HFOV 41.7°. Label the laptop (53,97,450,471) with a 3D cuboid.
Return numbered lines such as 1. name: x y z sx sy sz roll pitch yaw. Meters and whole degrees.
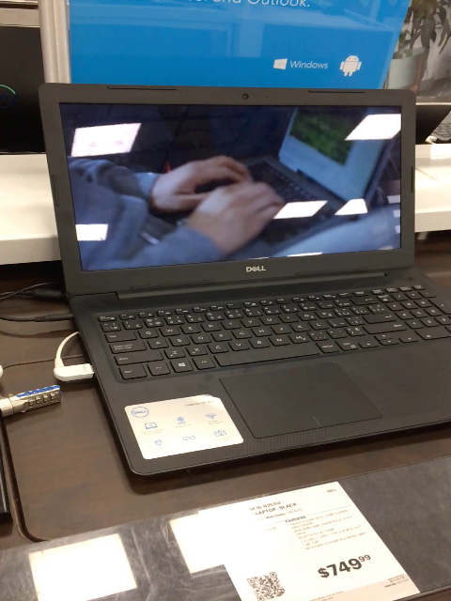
1. laptop: 0.081 -0.054 0.569 0.416 0.192 0.347 -7 38 -18
